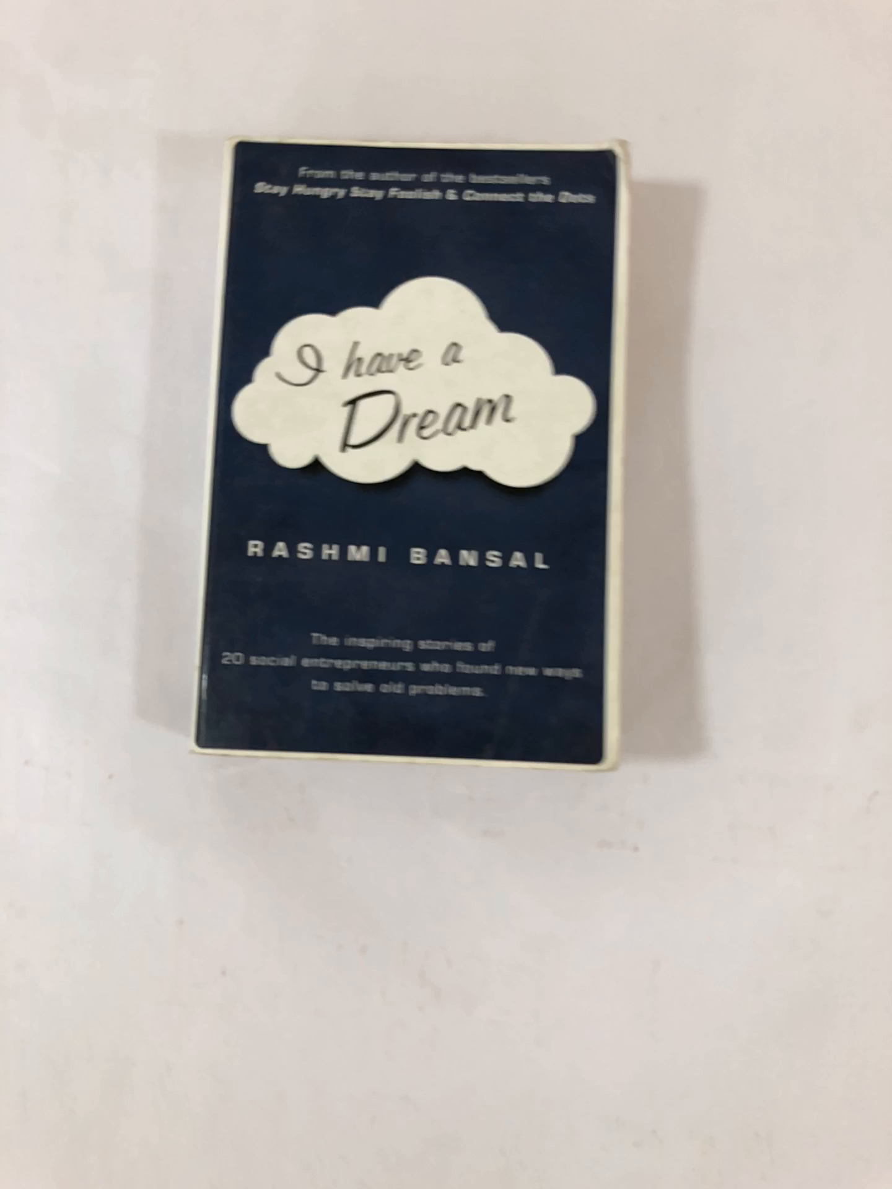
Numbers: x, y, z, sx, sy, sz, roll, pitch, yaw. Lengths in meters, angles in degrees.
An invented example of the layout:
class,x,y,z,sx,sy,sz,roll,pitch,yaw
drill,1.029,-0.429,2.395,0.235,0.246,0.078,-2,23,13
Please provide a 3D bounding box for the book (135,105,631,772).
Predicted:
class,x,y,z,sx,sy,sz,roll,pitch,yaw
book,-0.016,-0.049,0.315,0.140,0.030,0.200,2,84,0
